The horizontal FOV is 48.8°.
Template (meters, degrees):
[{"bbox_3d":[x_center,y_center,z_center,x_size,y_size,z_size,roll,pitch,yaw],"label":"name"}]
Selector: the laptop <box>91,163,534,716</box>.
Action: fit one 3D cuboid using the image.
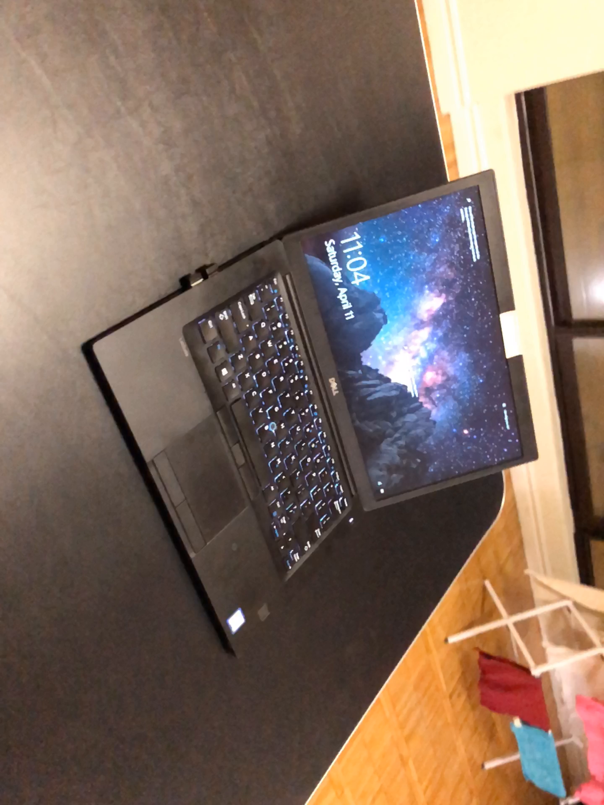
[{"bbox_3d":[0.057,0.006,0.606,0.369,0.140,0.320,-42,124,-40],"label":"laptop"}]
